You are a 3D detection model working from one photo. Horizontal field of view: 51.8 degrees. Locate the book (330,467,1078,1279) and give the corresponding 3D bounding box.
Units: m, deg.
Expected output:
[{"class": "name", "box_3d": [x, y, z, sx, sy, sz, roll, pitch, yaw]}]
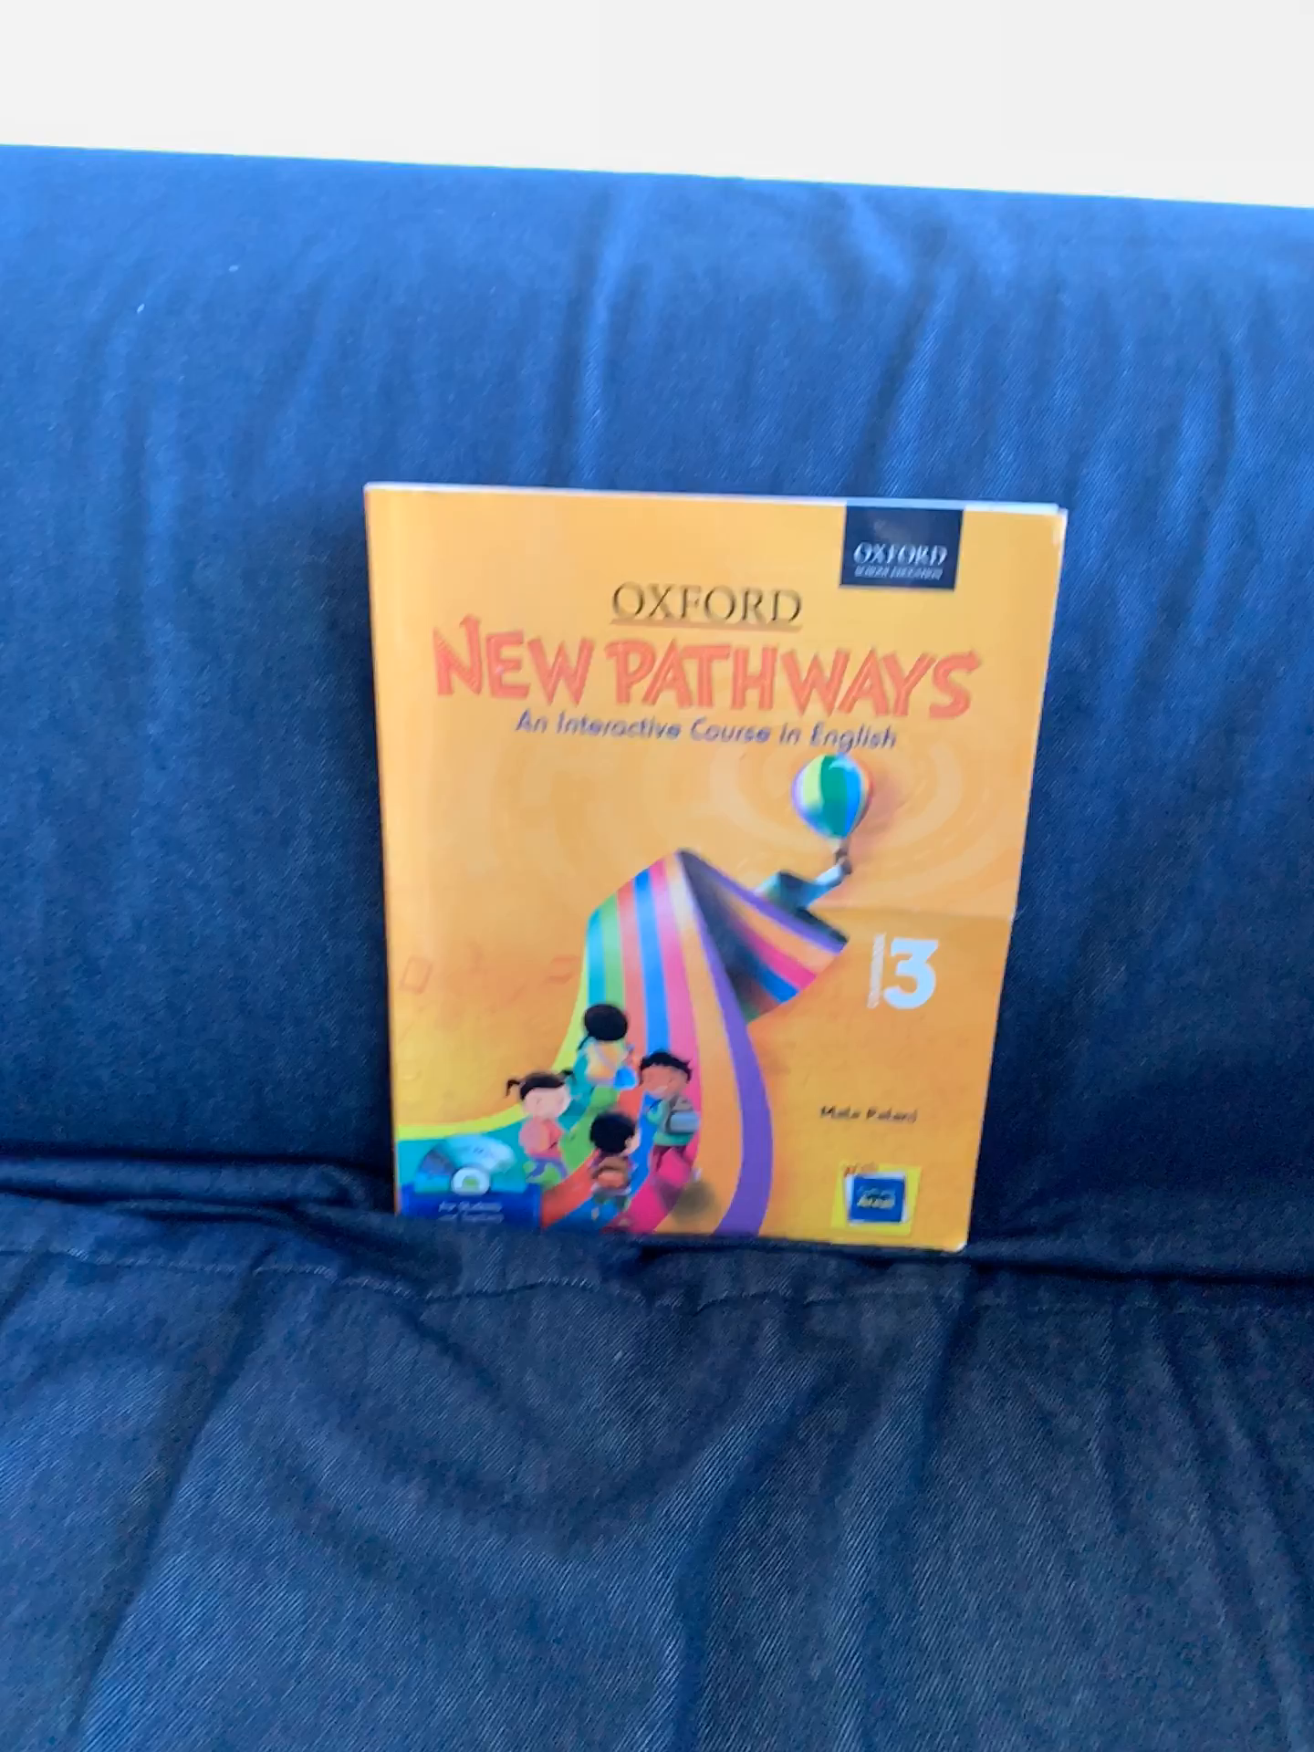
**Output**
[{"class": "book", "box_3d": [0.008, 0.010, 0.479, 0.230, 0.283, 0.030, 3, 21, 0]}]
